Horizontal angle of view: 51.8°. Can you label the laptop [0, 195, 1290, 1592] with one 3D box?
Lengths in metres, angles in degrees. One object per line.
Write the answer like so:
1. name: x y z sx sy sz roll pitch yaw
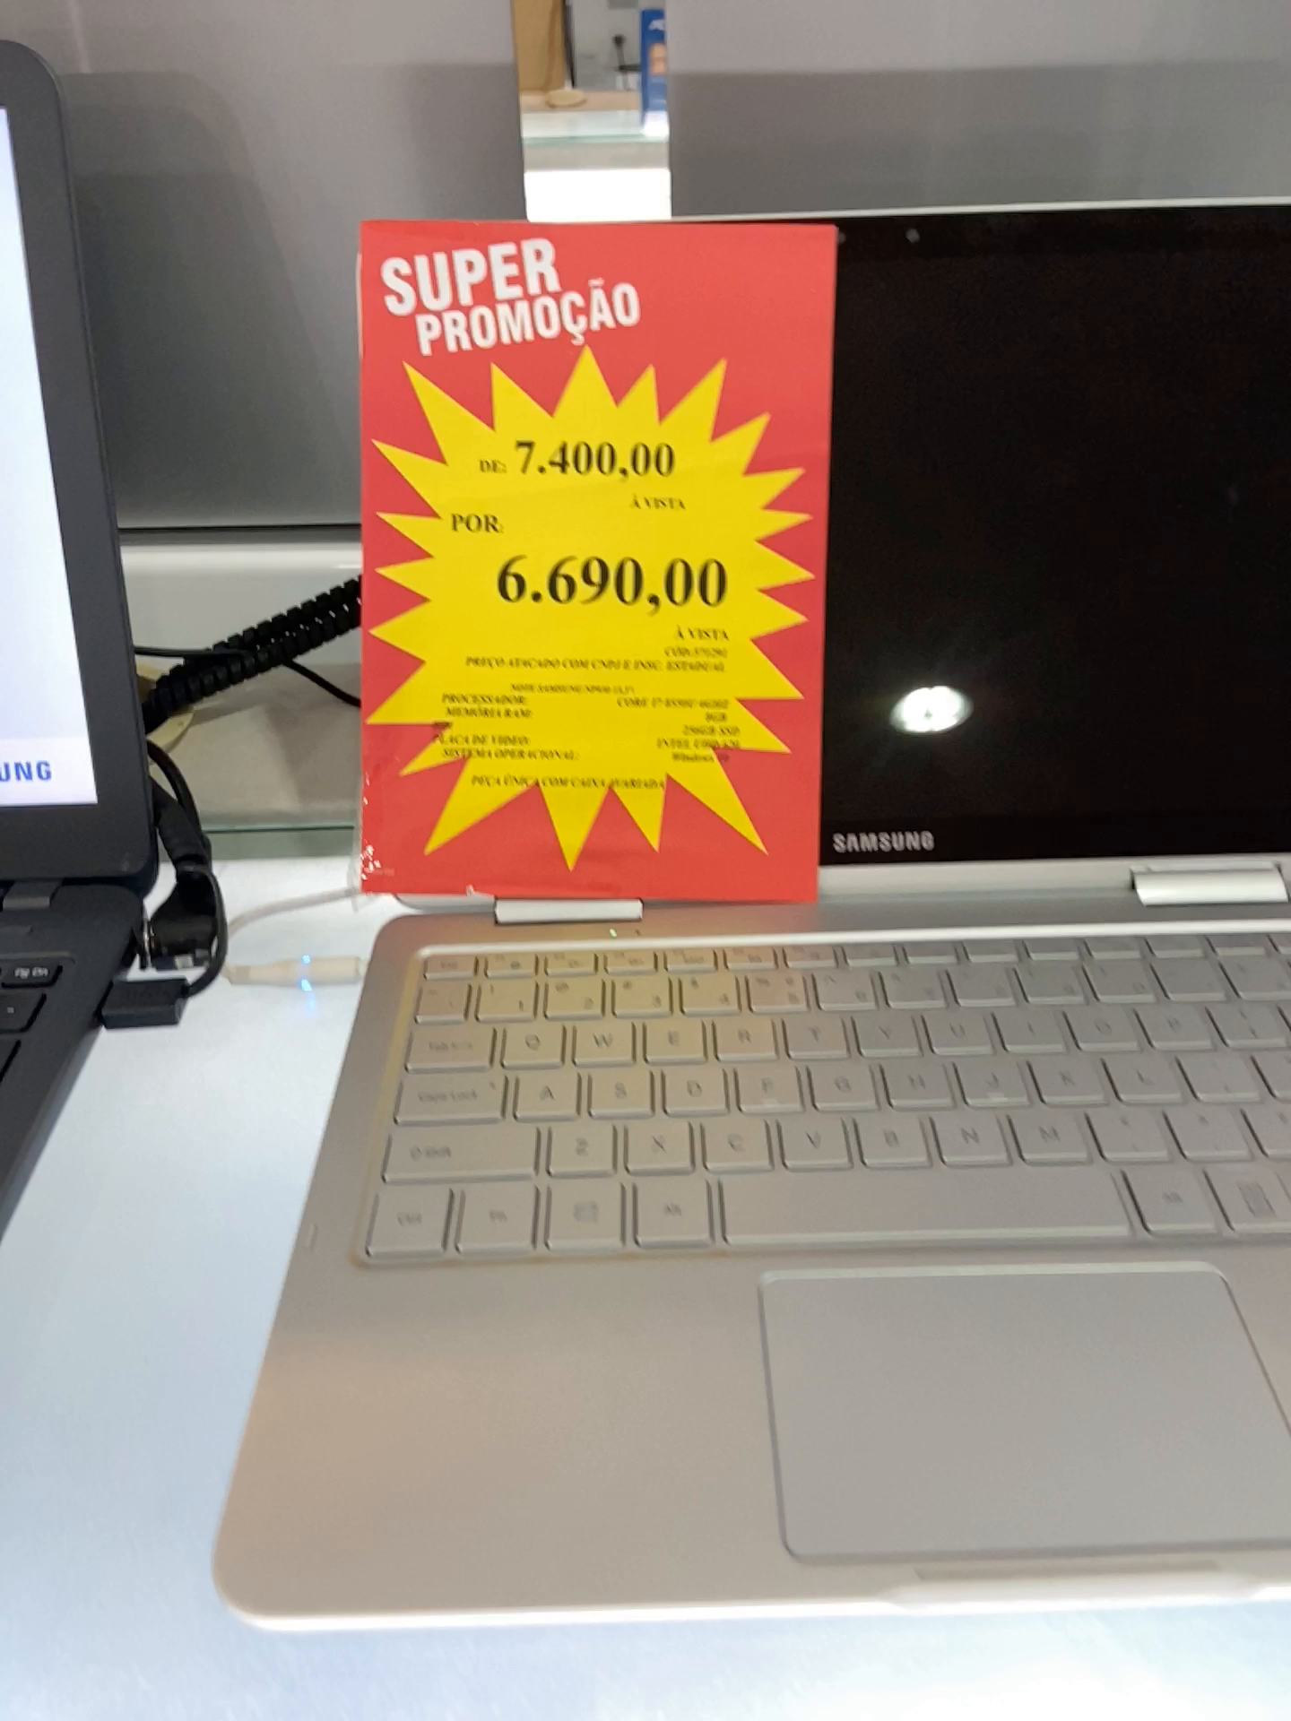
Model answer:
1. laptop: 0.072 -0.034 0.316 0.305 0.170 0.312 -2 34 1
